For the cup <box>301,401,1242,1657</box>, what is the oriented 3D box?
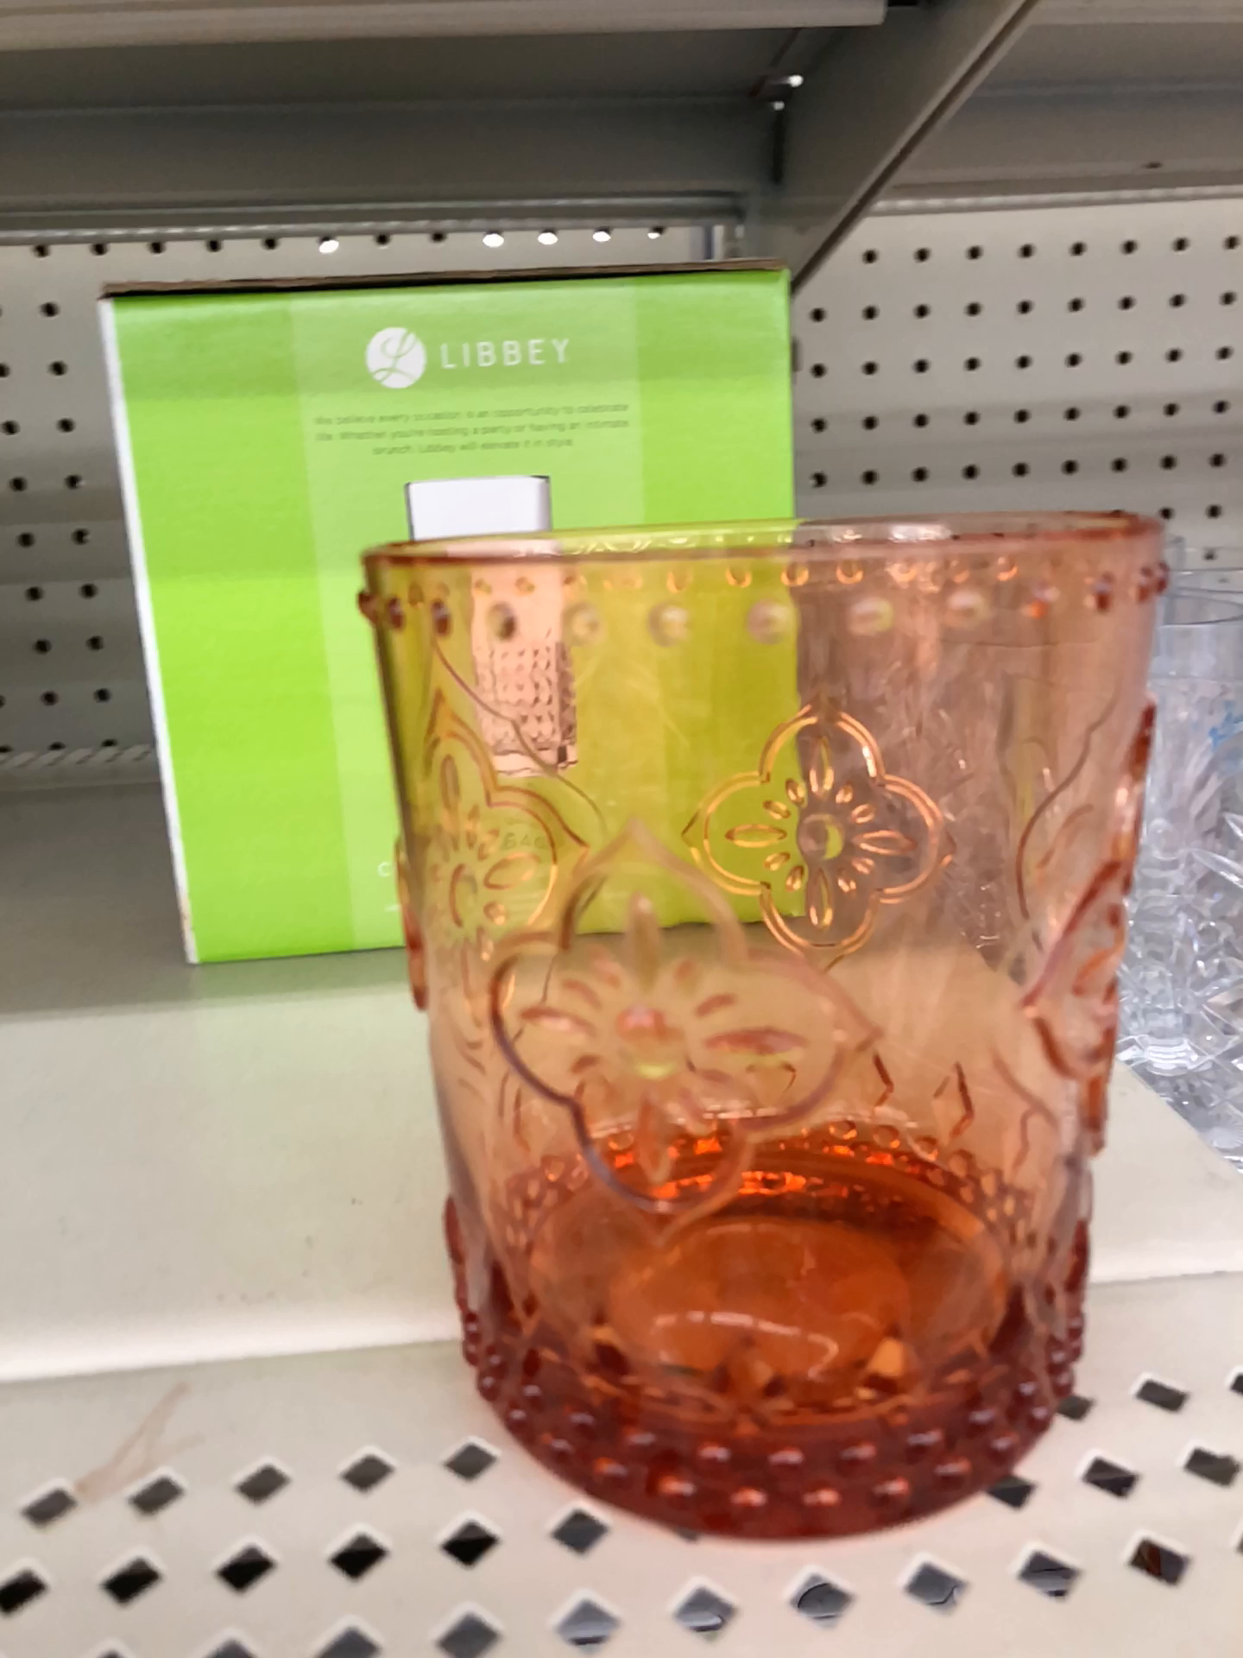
[{"bbox_3d":[0.022,0.010,0.164,0.090,0.110,0.080,-9,15,-26],"label":"cup"}]
